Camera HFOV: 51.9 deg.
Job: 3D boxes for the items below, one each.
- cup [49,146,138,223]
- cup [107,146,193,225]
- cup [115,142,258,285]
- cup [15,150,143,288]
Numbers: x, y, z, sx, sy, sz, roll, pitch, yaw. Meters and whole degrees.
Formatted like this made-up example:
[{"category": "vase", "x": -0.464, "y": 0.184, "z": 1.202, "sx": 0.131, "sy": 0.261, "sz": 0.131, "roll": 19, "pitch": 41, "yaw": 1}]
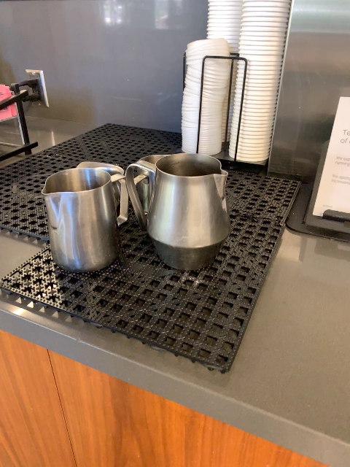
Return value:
[{"category": "cup", "x": -0.120, "y": -0.077, "z": 0.534, "sx": 0.110, "sy": 0.070, "sz": 0.070, "roll": 23, "pitch": 38, "yaw": 33}, {"category": "cup", "x": -0.033, "y": -0.076, "z": 0.534, "sx": 0.070, "sy": 0.070, "sz": 0.110, "roll": 20, "pitch": 36, "yaw": 30}, {"category": "cup", "x": 0.013, "y": -0.034, "z": 0.462, "sx": 0.141, "sy": 0.119, "sz": 0.100, "roll": 23, "pitch": 37, "yaw": 32}, {"category": "cup", "x": -0.112, "y": -0.025, "z": 0.455, "sx": 0.080, "sy": 0.119, "sz": 0.120, "roll": 20, "pitch": 36, "yaw": 29}]
